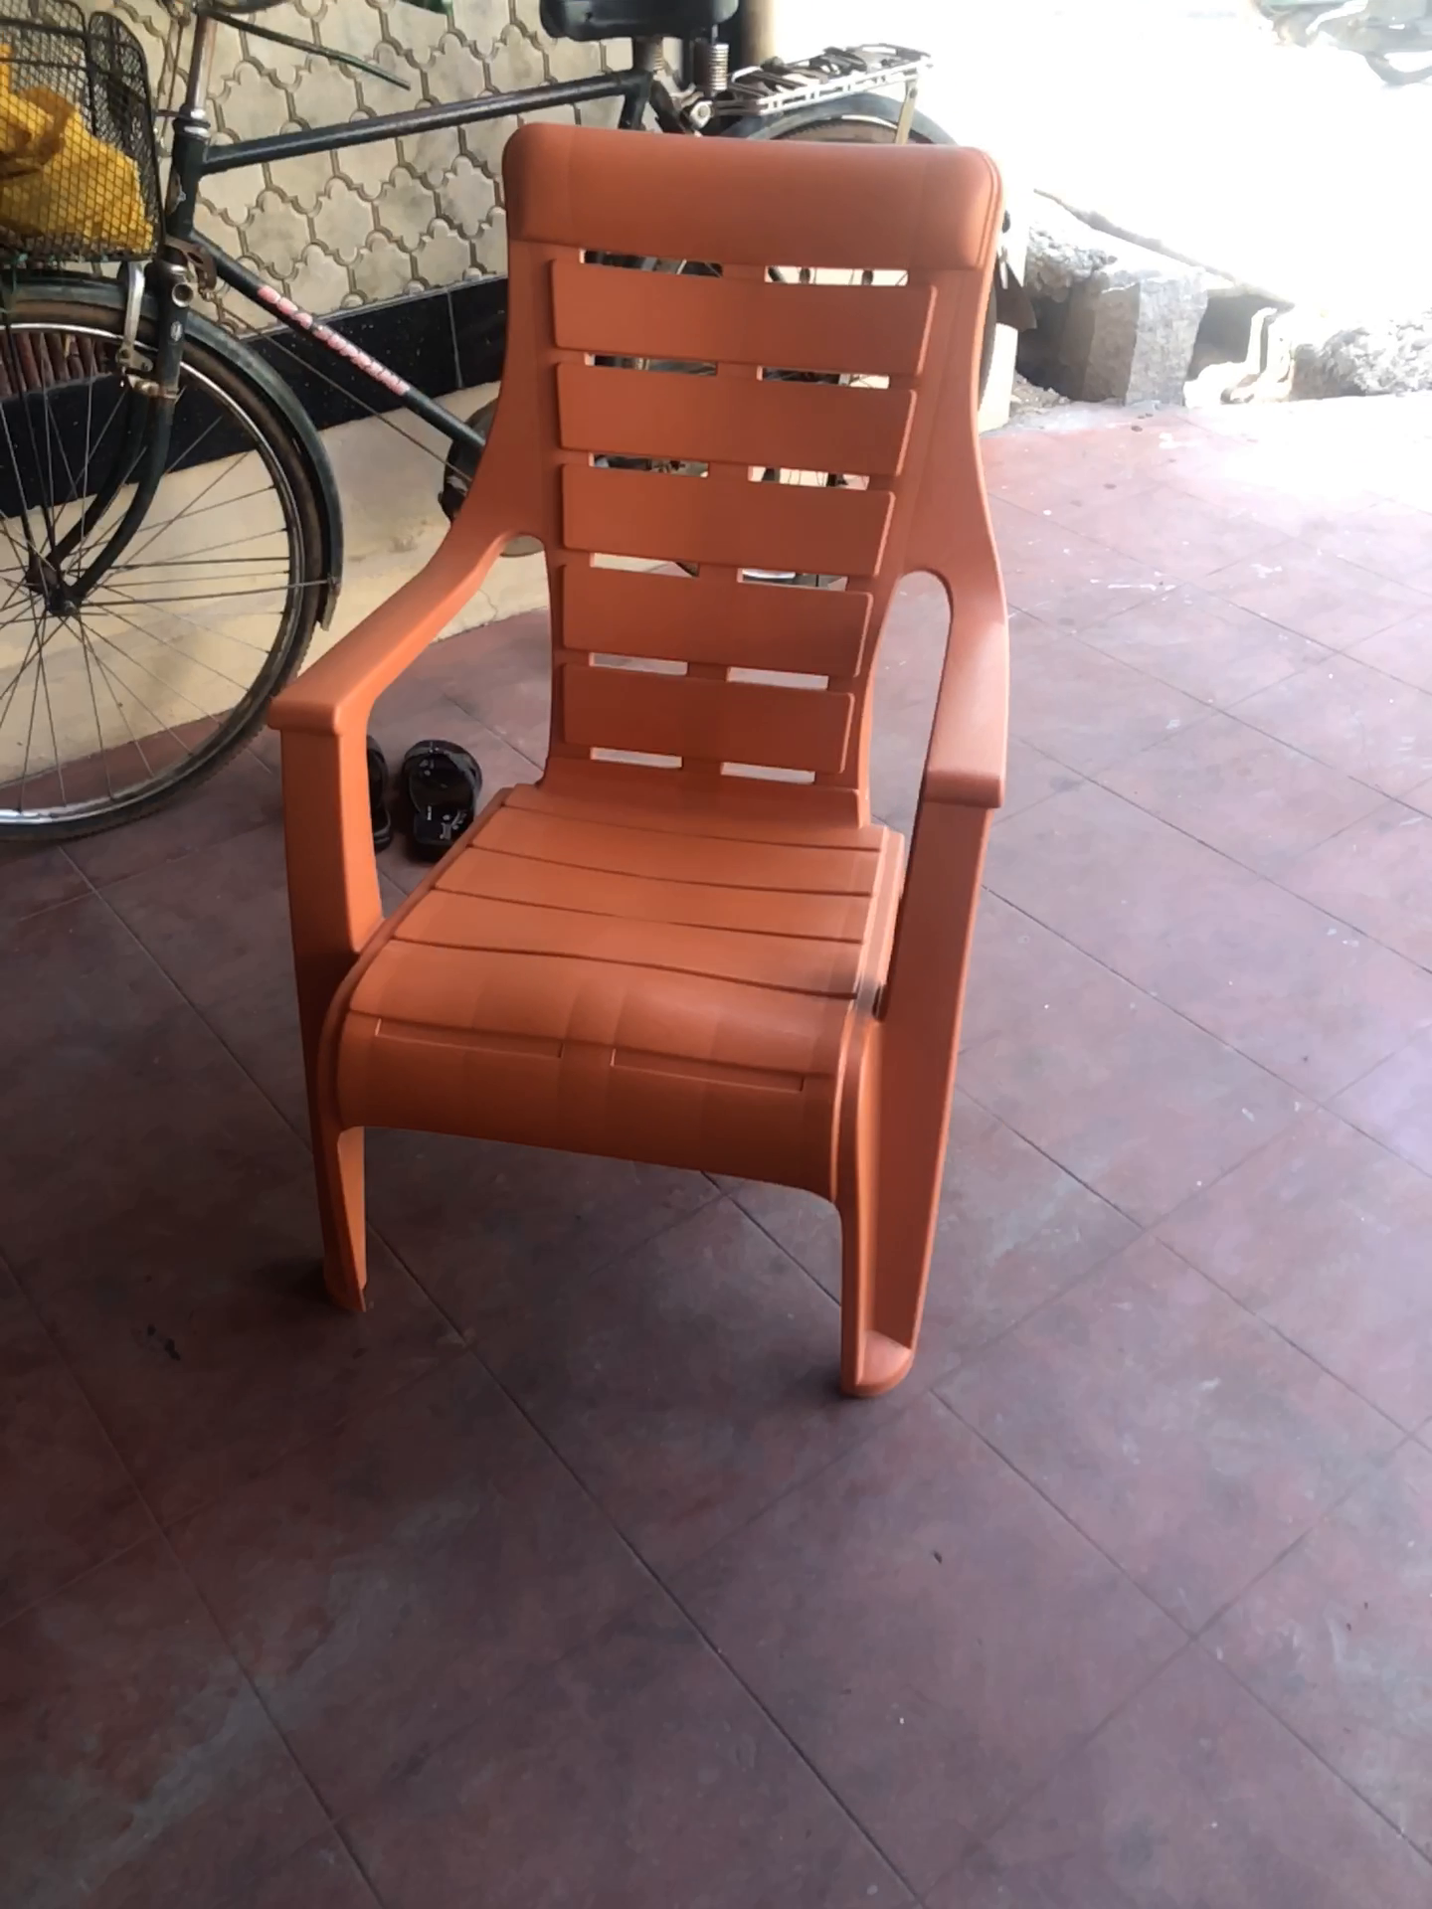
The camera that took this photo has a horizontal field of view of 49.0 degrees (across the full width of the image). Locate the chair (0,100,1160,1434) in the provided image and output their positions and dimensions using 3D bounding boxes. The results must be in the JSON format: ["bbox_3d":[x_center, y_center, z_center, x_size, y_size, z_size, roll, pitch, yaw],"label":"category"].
[{"bbox_3d":[-0.052,-0.199,1.345,0.690,0.786,0.764,6,40,8],"label":"chair"}]
